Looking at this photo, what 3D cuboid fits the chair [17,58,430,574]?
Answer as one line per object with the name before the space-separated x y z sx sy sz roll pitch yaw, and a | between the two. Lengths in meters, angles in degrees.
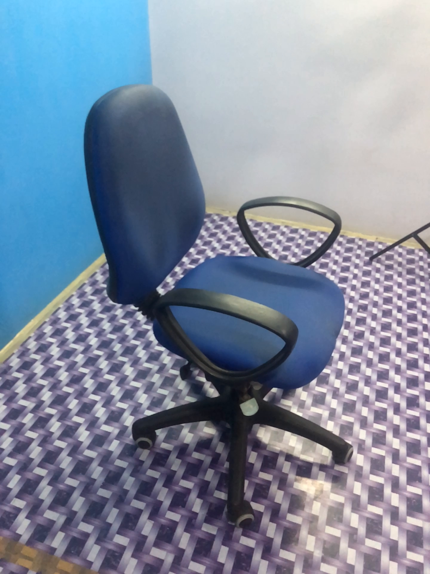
chair | 0.127 0.005 1.135 0.670 0.875 0.704 11 34 14
